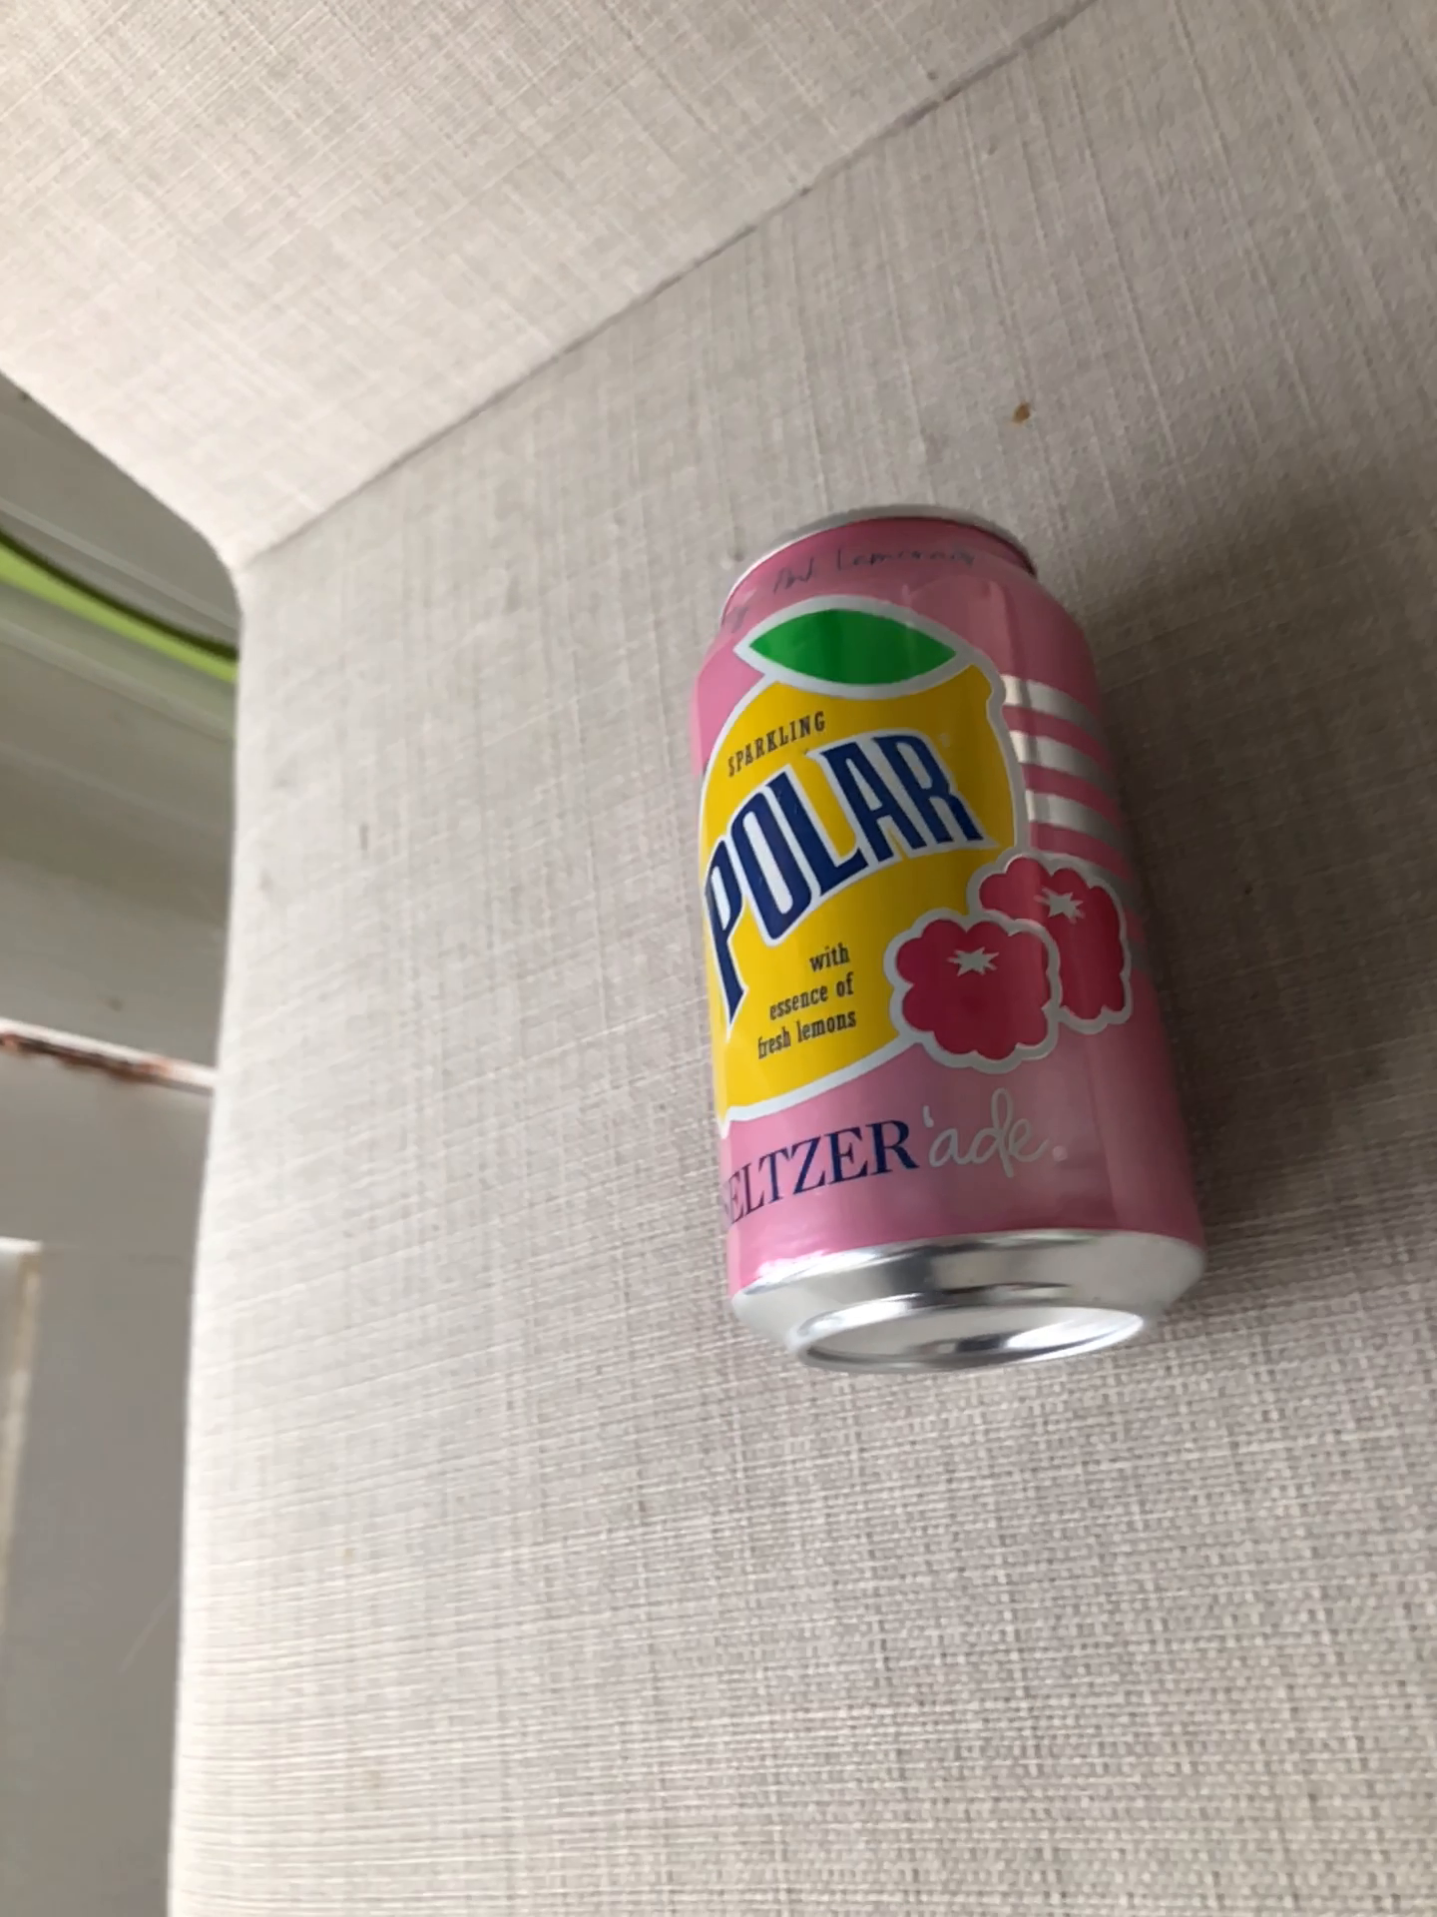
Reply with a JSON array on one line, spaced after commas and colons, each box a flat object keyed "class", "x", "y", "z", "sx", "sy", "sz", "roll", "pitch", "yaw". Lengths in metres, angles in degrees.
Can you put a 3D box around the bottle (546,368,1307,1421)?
[{"class": "bottle", "x": 0.026, "y": -0.003, "z": 0.232, "sx": 0.070, "sy": 0.065, "sz": 0.122, "roll": -20, "pitch": 62, "yaw": 29}]
